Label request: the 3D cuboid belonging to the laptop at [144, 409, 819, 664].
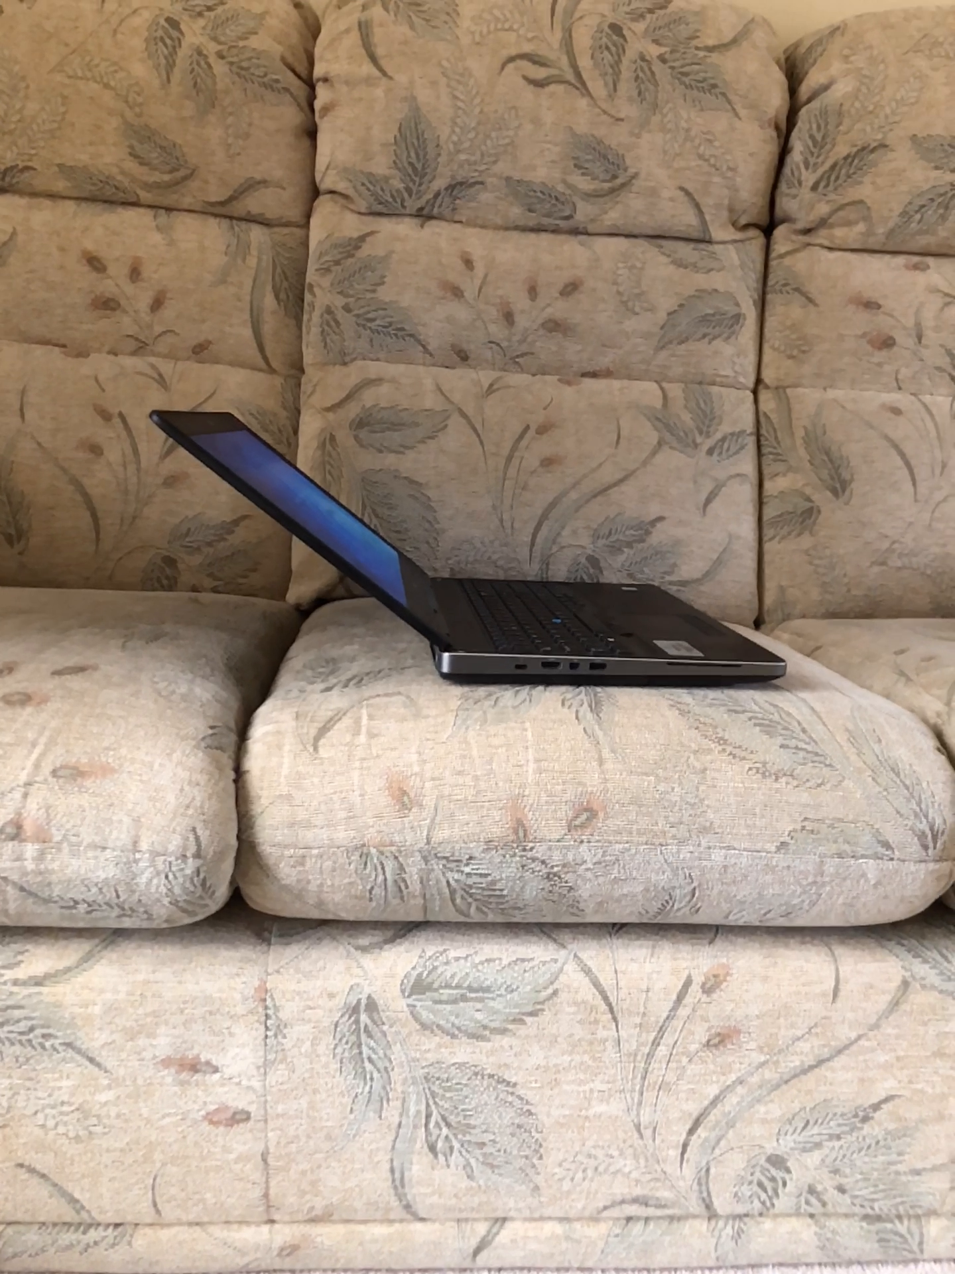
[{"bbox_3d":[-0.013,-0.101,0.898,0.451,0.157,0.356,2,14,-6],"label":"laptop"}]
